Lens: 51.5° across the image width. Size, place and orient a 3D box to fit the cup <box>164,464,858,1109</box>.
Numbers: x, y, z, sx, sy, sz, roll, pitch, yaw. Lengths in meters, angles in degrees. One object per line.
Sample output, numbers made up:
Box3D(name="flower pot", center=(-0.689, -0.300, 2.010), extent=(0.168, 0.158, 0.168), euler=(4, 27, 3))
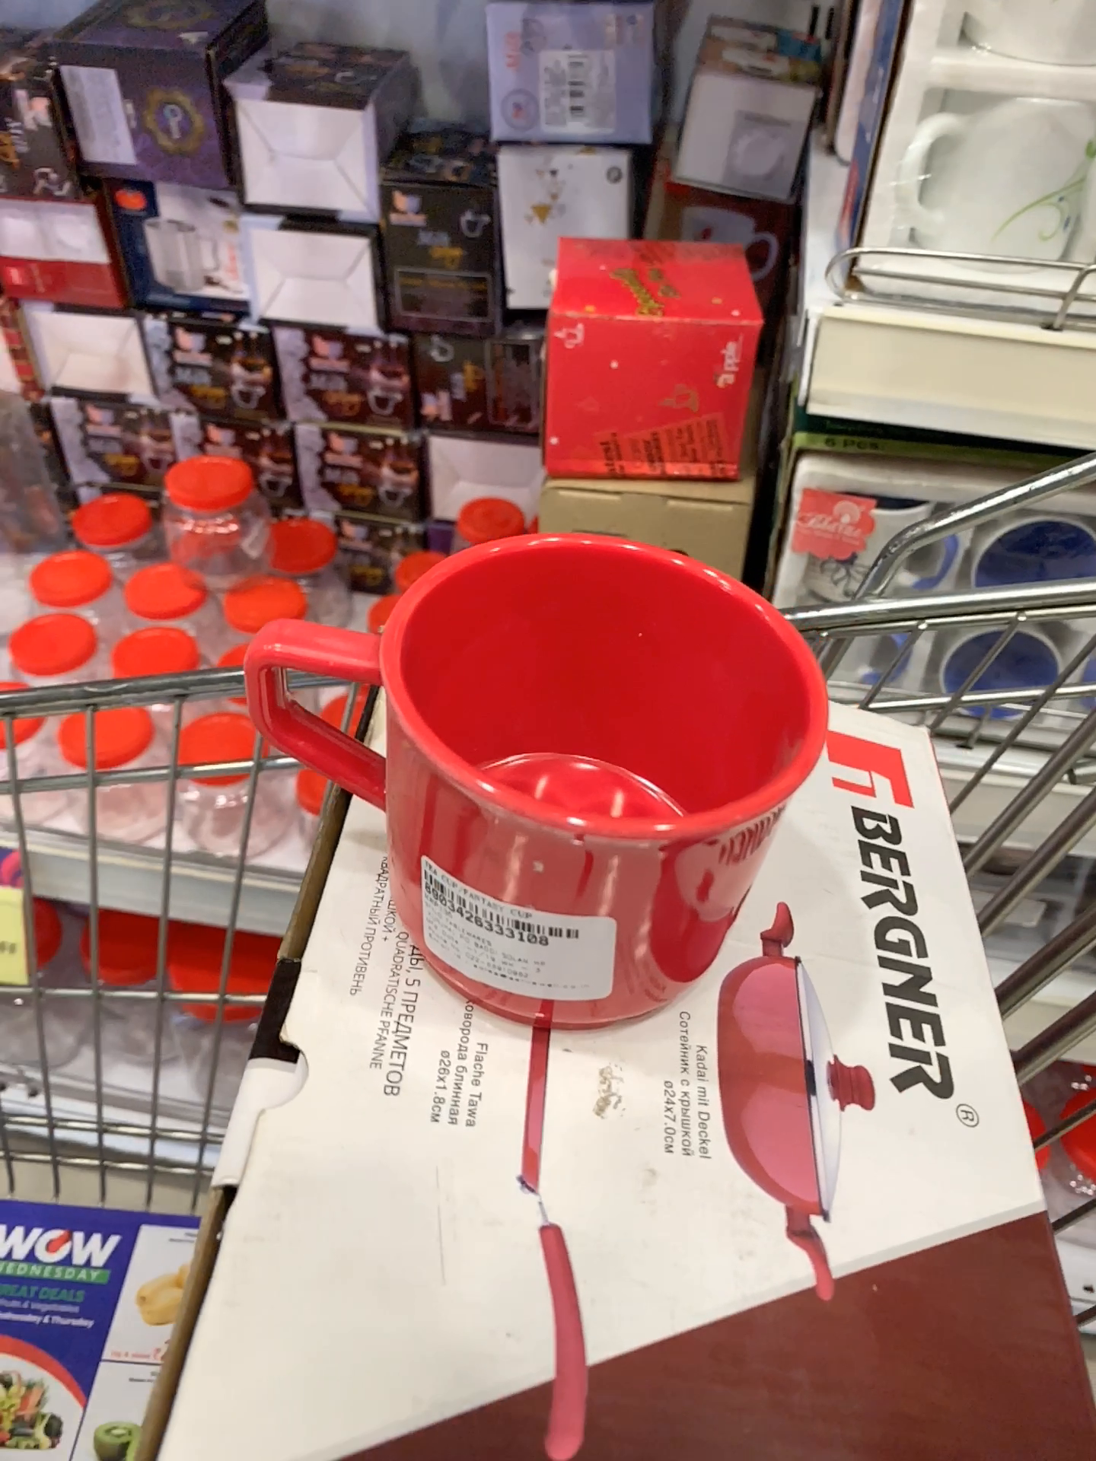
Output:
Box3D(name="cup", center=(-0.001, 0.007, 0.189), extent=(0.090, 0.060, 0.070), euler=(11, 43, 5))
